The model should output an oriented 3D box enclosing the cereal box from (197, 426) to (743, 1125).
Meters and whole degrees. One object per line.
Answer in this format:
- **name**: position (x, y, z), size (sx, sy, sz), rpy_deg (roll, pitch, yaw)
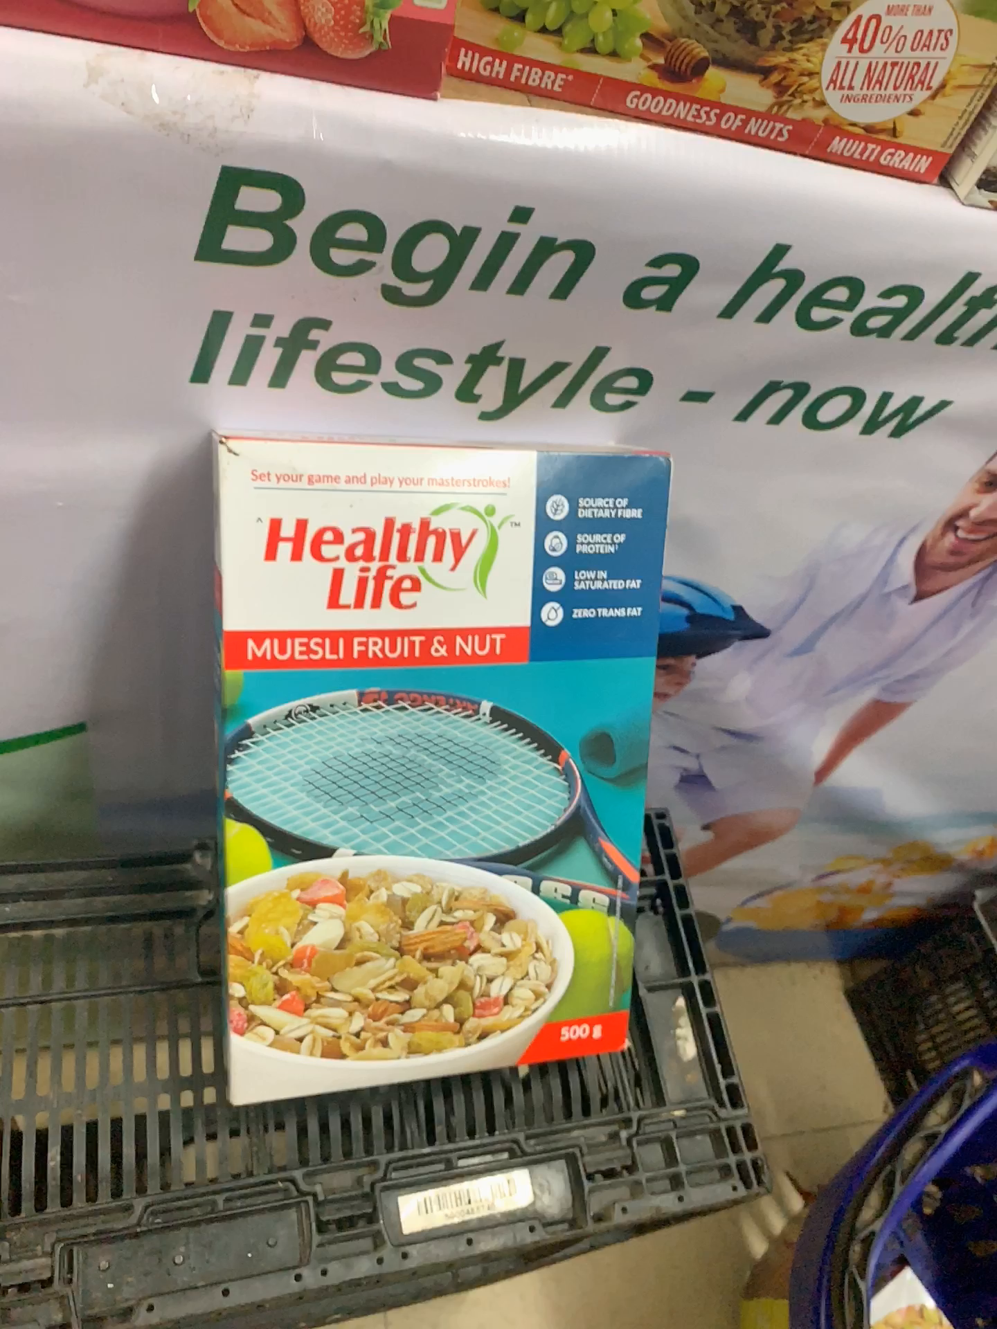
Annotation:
- **cereal box**: position (-0.017, 0.037, 0.410), size (0.190, 0.250, 0.070), rpy_deg (-2, 14, -17)
